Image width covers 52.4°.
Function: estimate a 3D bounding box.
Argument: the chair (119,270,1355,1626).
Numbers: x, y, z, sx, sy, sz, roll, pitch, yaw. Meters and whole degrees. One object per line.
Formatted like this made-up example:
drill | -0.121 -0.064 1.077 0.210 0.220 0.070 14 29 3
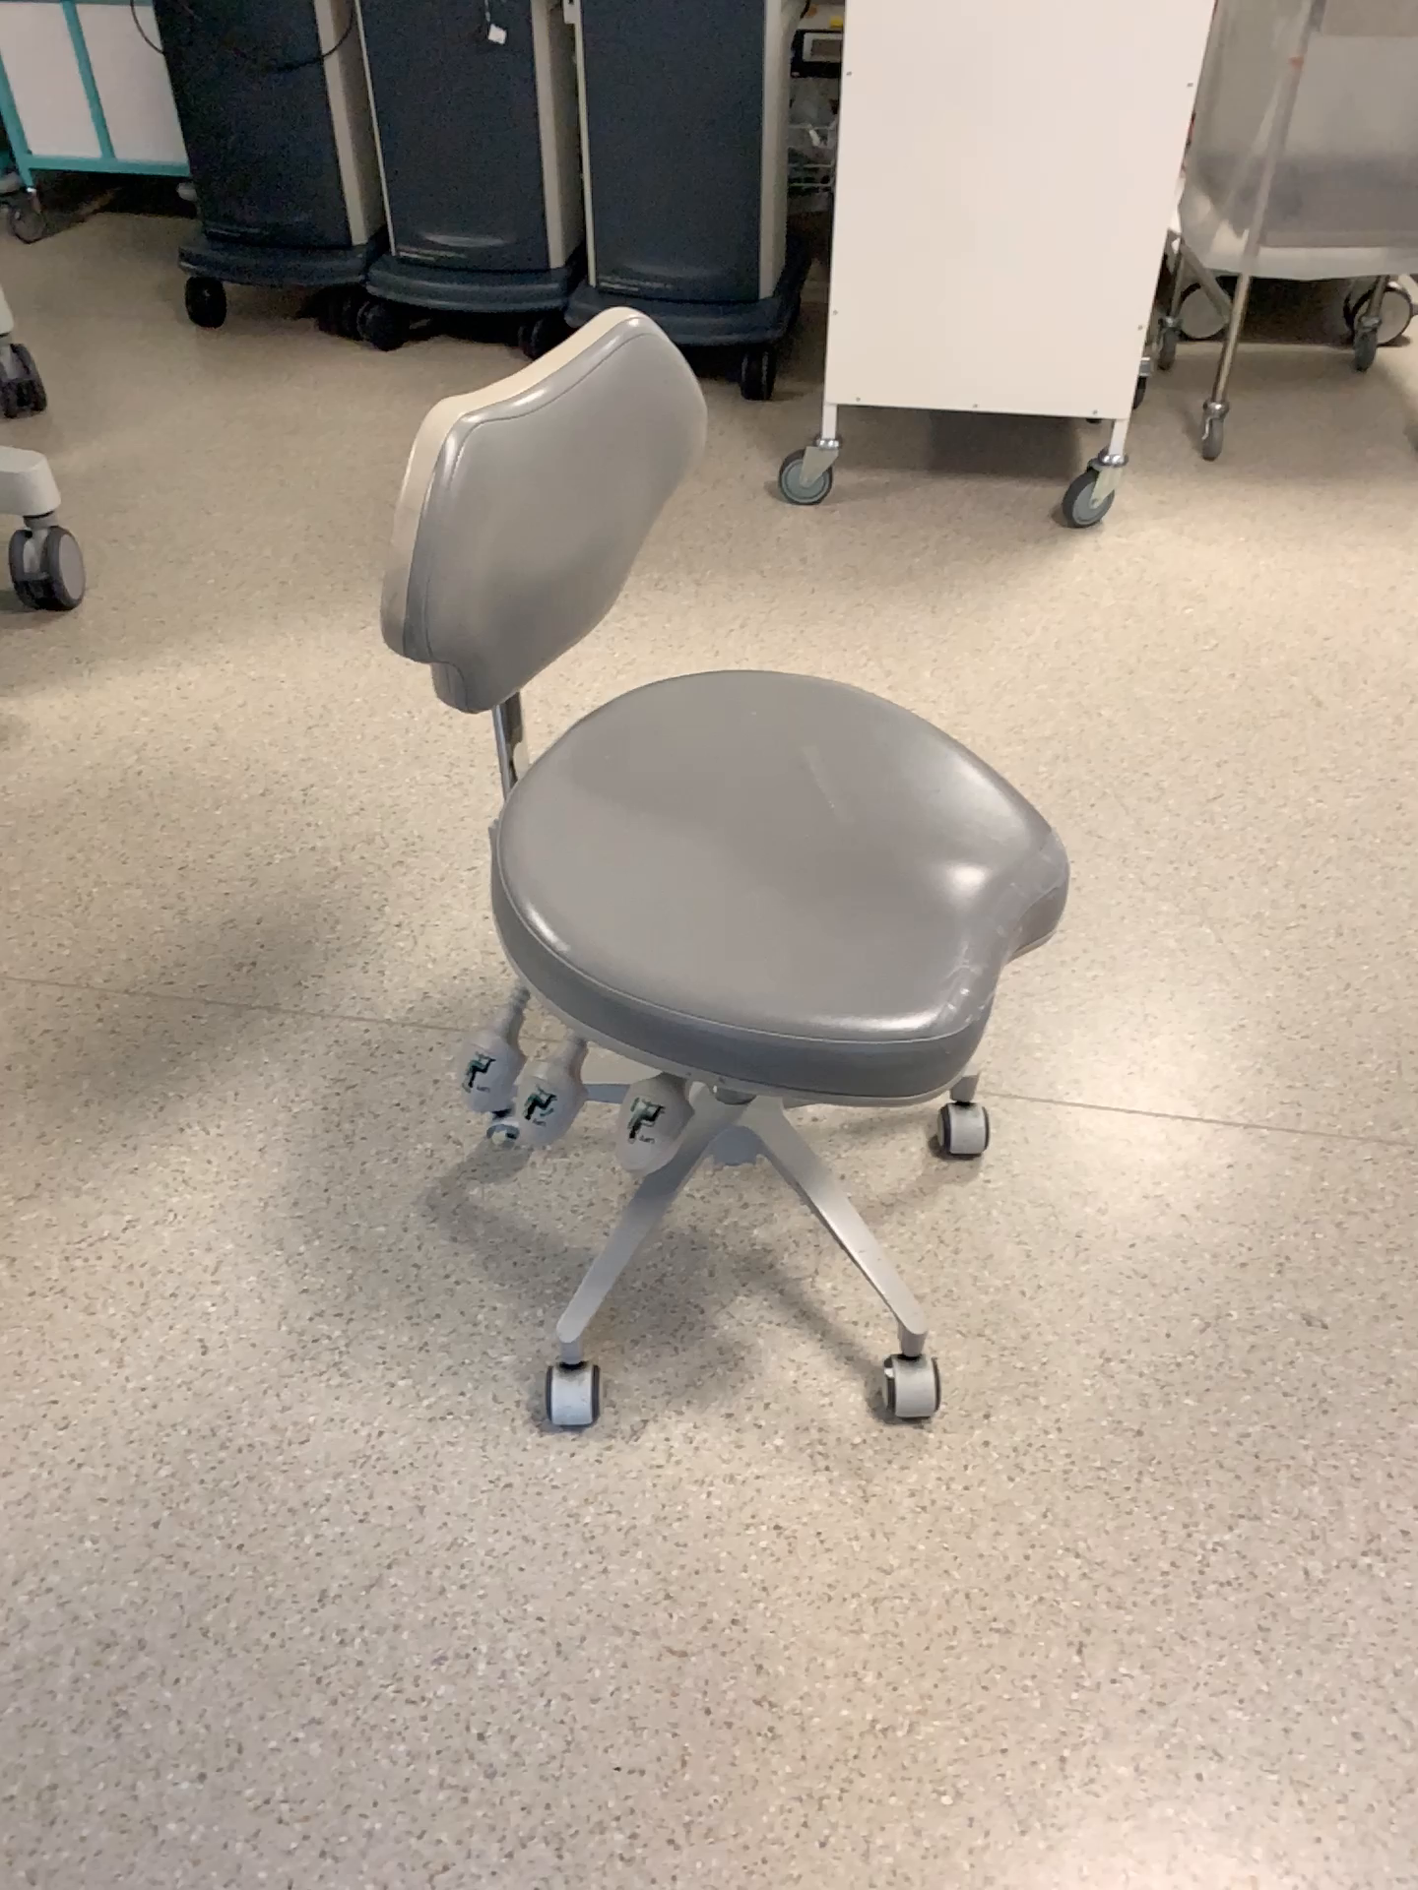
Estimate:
chair | 0.050 0.001 1.242 0.602 0.822 0.604 22 49 21
